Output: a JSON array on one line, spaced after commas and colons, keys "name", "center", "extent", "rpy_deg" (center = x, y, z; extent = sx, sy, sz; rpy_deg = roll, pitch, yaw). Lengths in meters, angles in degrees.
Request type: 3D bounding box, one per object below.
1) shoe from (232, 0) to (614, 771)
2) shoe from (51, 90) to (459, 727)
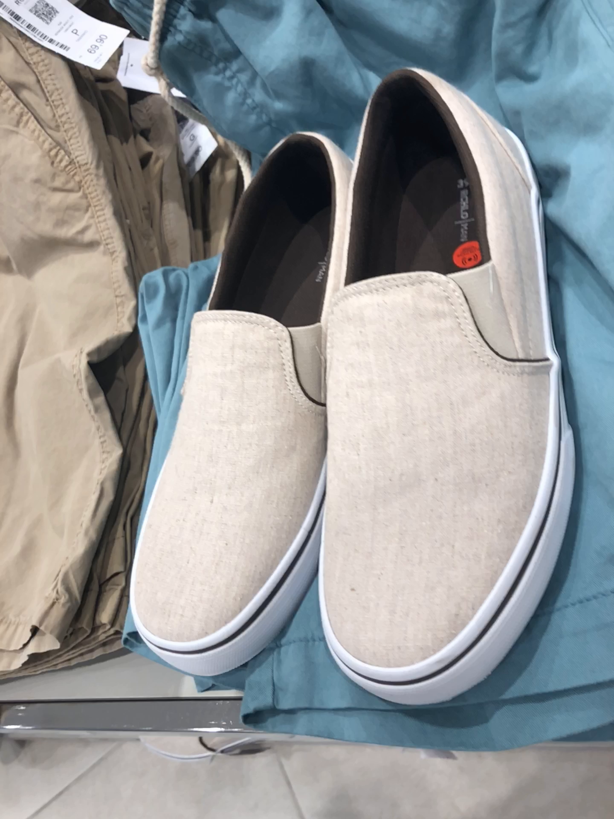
[{"name": "shoe", "center": [0.057, -0.017, 0.268], "extent": [0.100, 0.089, 0.261], "rpy_deg": [-6, 67, 33]}, {"name": "shoe", "center": [-0.014, -0.003, 0.327], "extent": [0.100, 0.089, 0.260], "rpy_deg": [3, 72, 37]}]
